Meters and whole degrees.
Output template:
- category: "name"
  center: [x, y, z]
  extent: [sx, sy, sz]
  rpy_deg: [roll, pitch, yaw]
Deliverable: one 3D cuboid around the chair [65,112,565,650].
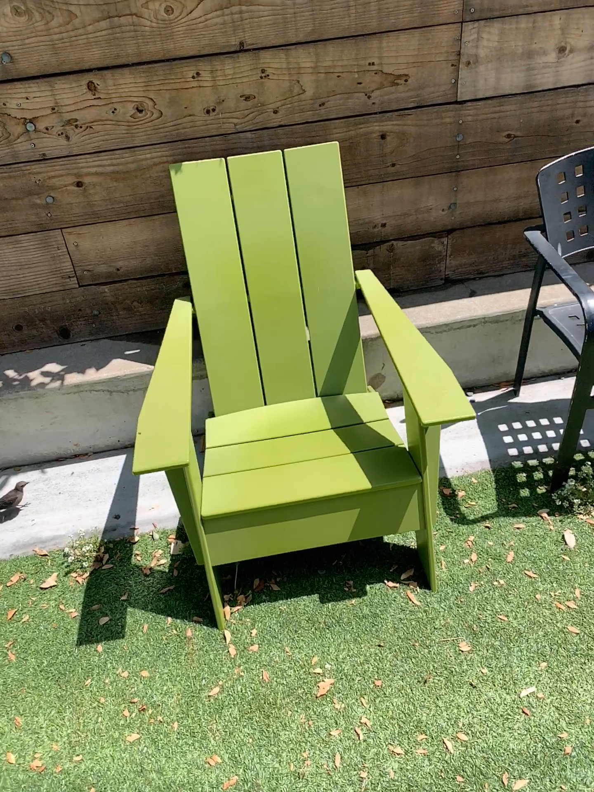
- category: "chair"
  center: [0.016, -0.075, 1.482]
  extent: [0.720, 0.844, 0.906]
  rpy_deg: [-8, 40, -2]
